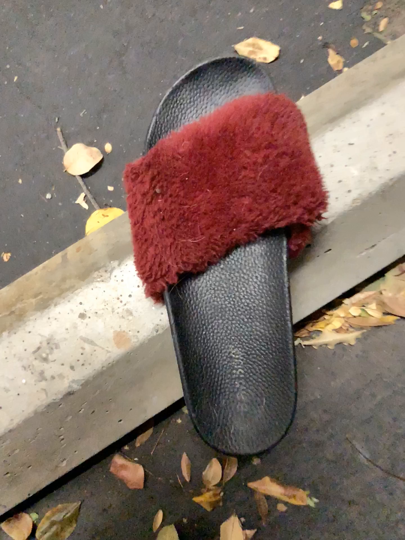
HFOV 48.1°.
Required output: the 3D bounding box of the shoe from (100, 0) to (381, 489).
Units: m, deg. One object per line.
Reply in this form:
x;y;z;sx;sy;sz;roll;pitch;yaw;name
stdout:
0.019;-0.020;0.287;0.140;0.050;0.280;-4;86;2;shoe
